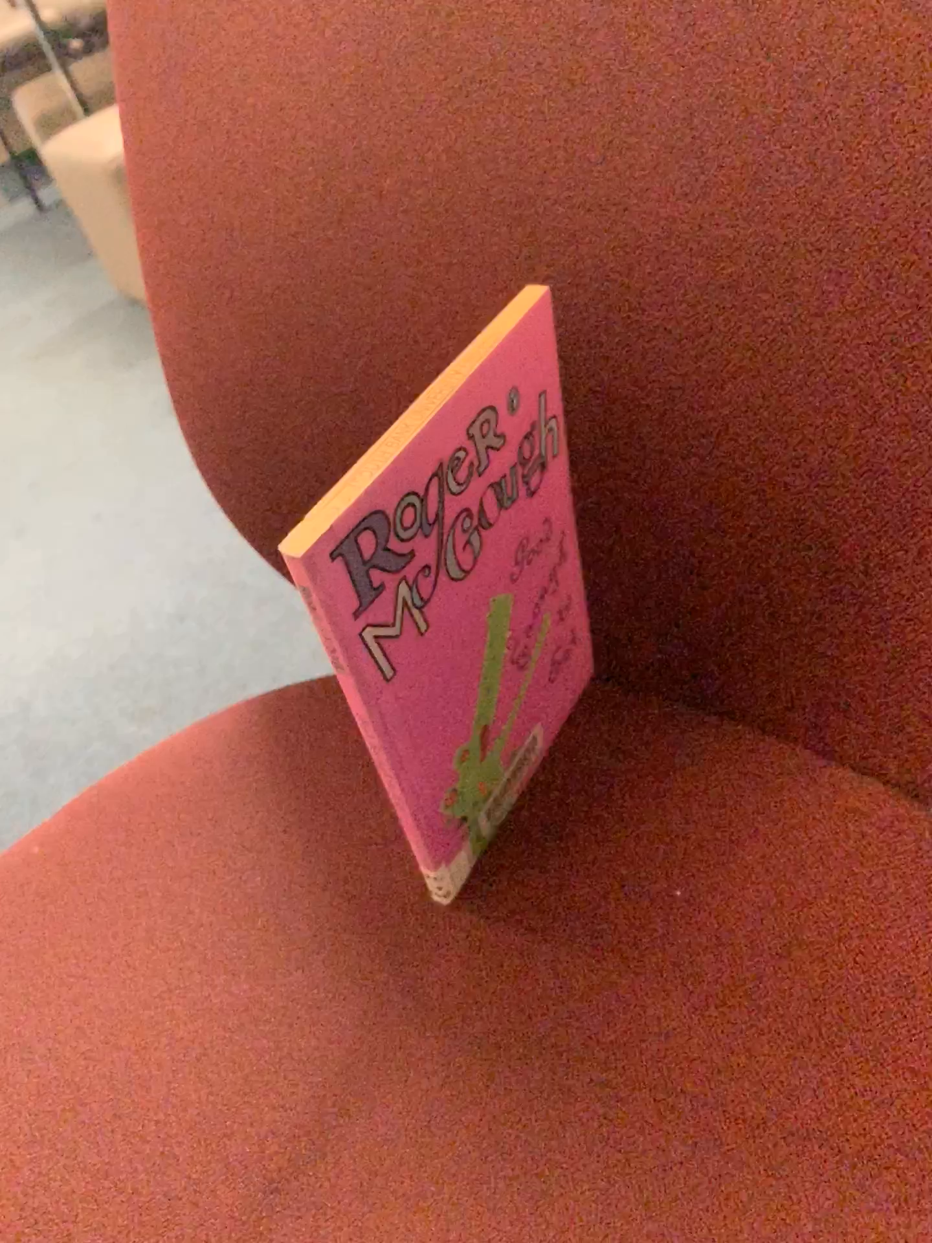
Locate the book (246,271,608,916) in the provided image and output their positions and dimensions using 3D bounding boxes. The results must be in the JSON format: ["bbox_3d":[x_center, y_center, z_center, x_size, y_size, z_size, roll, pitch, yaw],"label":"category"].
[{"bbox_3d":[0.005,-0.001,0.346,0.017,0.189,0.141,20,54,29],"label":"book"}]
